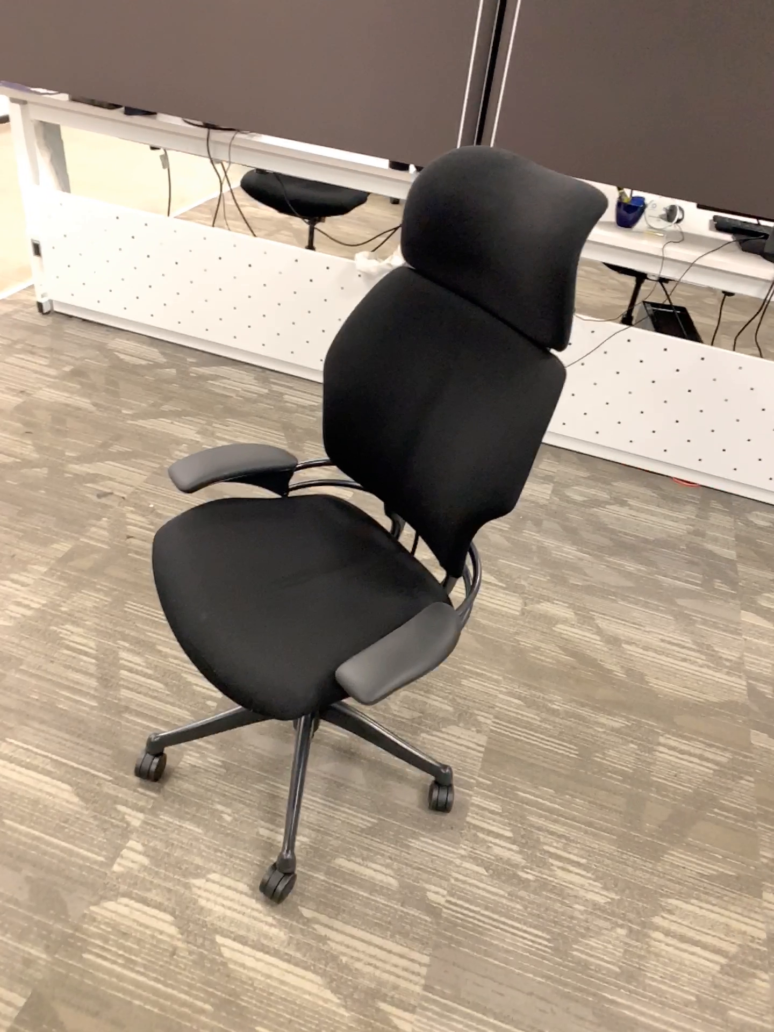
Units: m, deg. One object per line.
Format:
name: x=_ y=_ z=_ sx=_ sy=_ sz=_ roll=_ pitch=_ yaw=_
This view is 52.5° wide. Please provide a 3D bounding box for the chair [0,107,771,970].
chair: x=-0.082 y=-0.013 z=1.338 sx=0.773 sy=1.090 sz=0.694 roll=-18 pitch=44 yaw=-32
